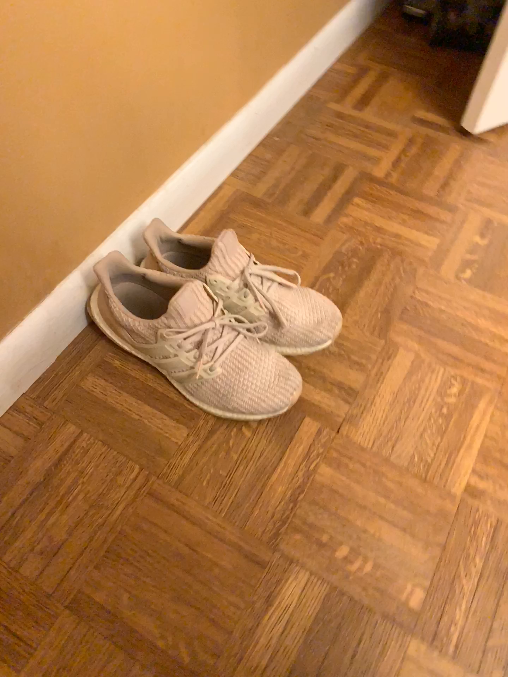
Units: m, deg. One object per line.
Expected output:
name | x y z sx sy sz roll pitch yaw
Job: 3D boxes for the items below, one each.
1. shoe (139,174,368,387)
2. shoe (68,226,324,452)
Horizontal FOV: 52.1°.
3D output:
shoe | -0.008 -0.073 0.676 0.260 0.120 0.110 34 61 4
shoe | -0.074 0.005 0.641 0.280 0.130 0.100 32 61 6
